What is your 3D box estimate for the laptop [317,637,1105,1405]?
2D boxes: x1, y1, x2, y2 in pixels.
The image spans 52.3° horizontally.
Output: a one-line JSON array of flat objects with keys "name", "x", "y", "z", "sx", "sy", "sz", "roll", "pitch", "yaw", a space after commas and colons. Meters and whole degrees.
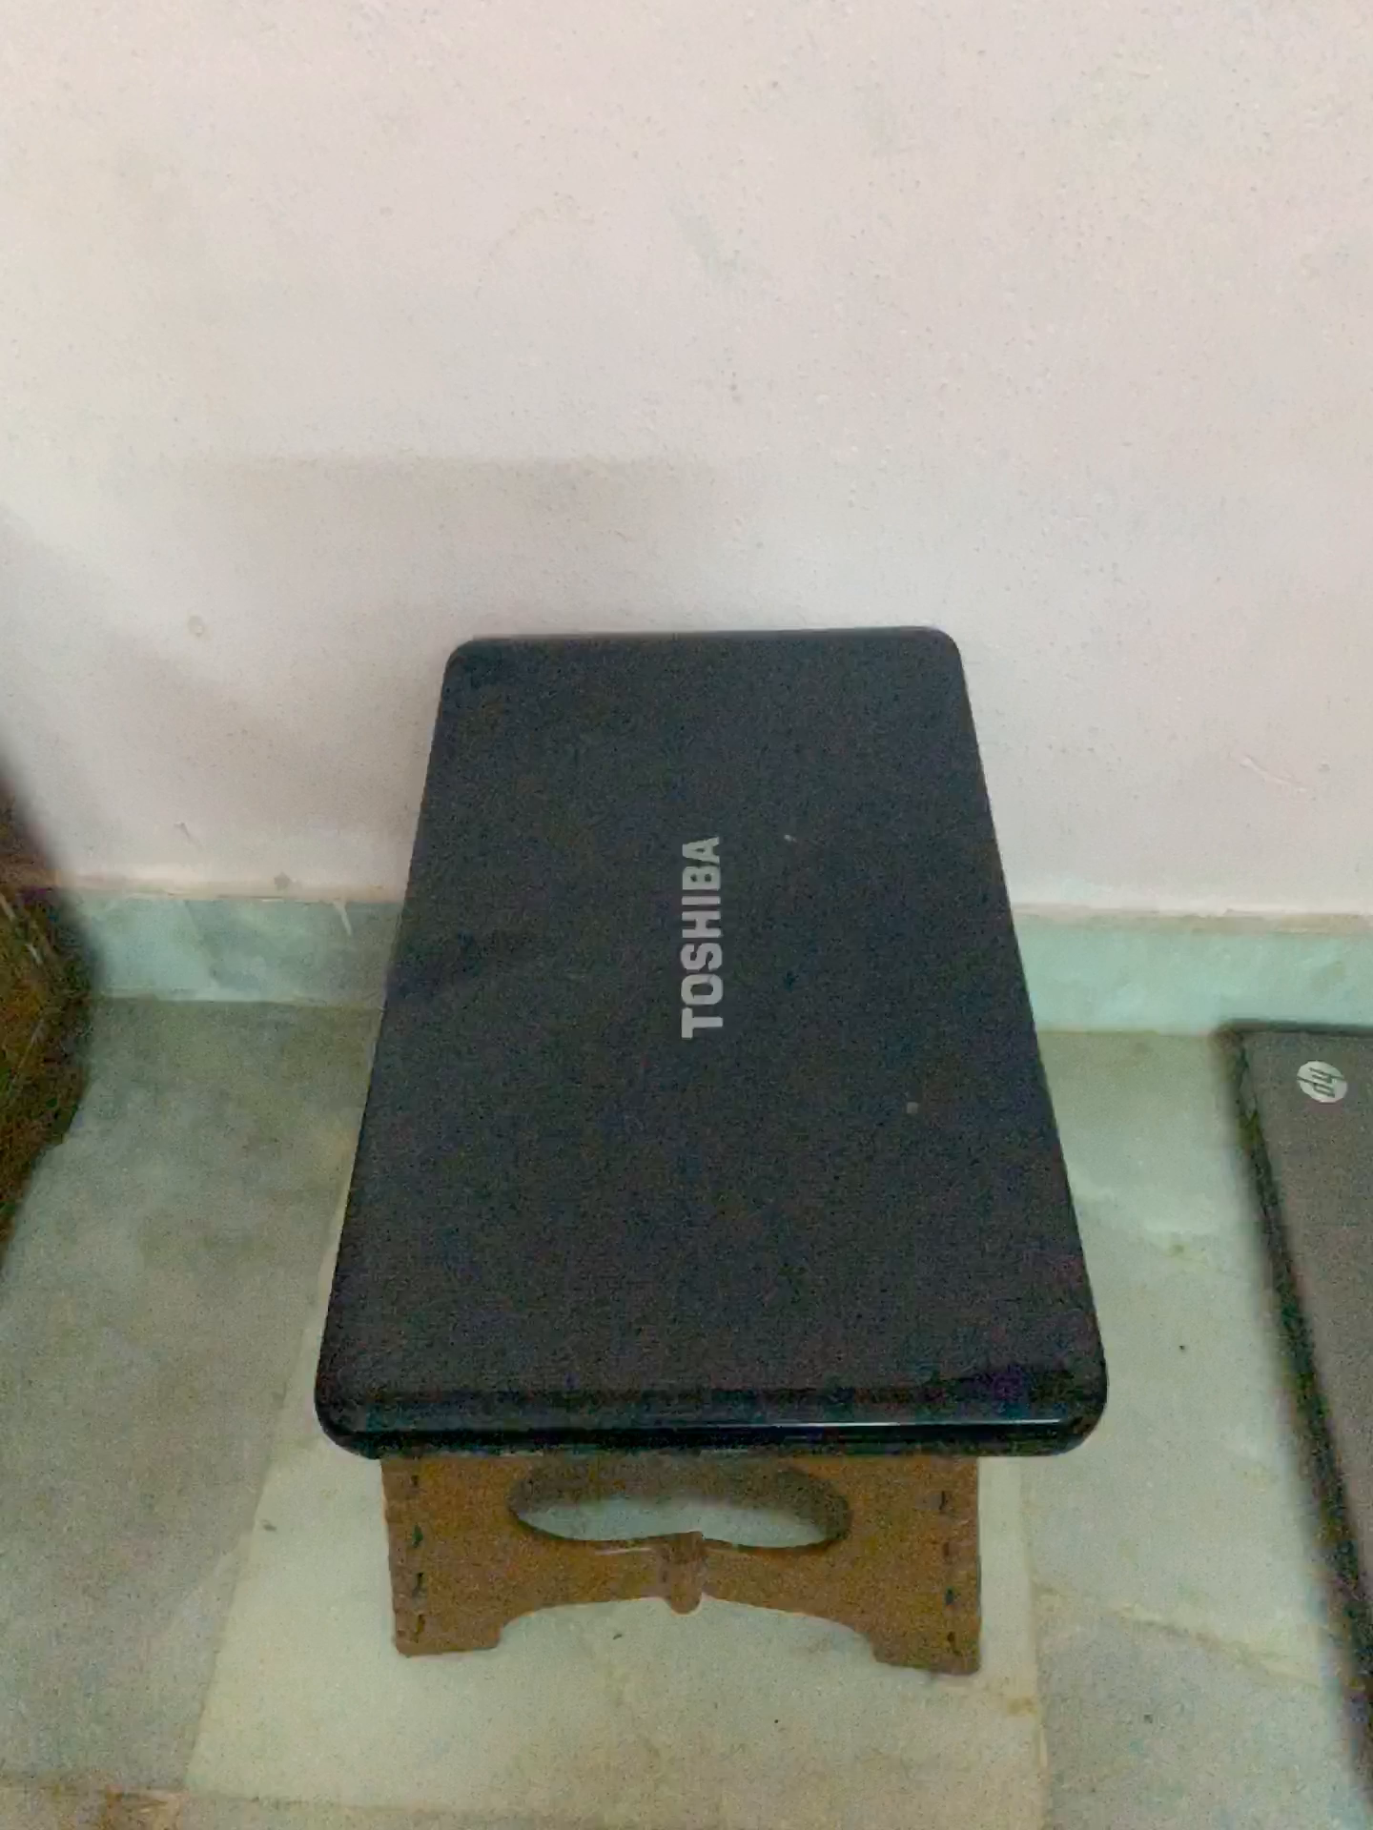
[{"name": "laptop", "x": 0.007, "y": 0.008, "z": 0.542, "sx": 0.236, "sy": 0.001, "sz": 0.370, "roll": -1, "pitch": 48, "yaw": 2}]
